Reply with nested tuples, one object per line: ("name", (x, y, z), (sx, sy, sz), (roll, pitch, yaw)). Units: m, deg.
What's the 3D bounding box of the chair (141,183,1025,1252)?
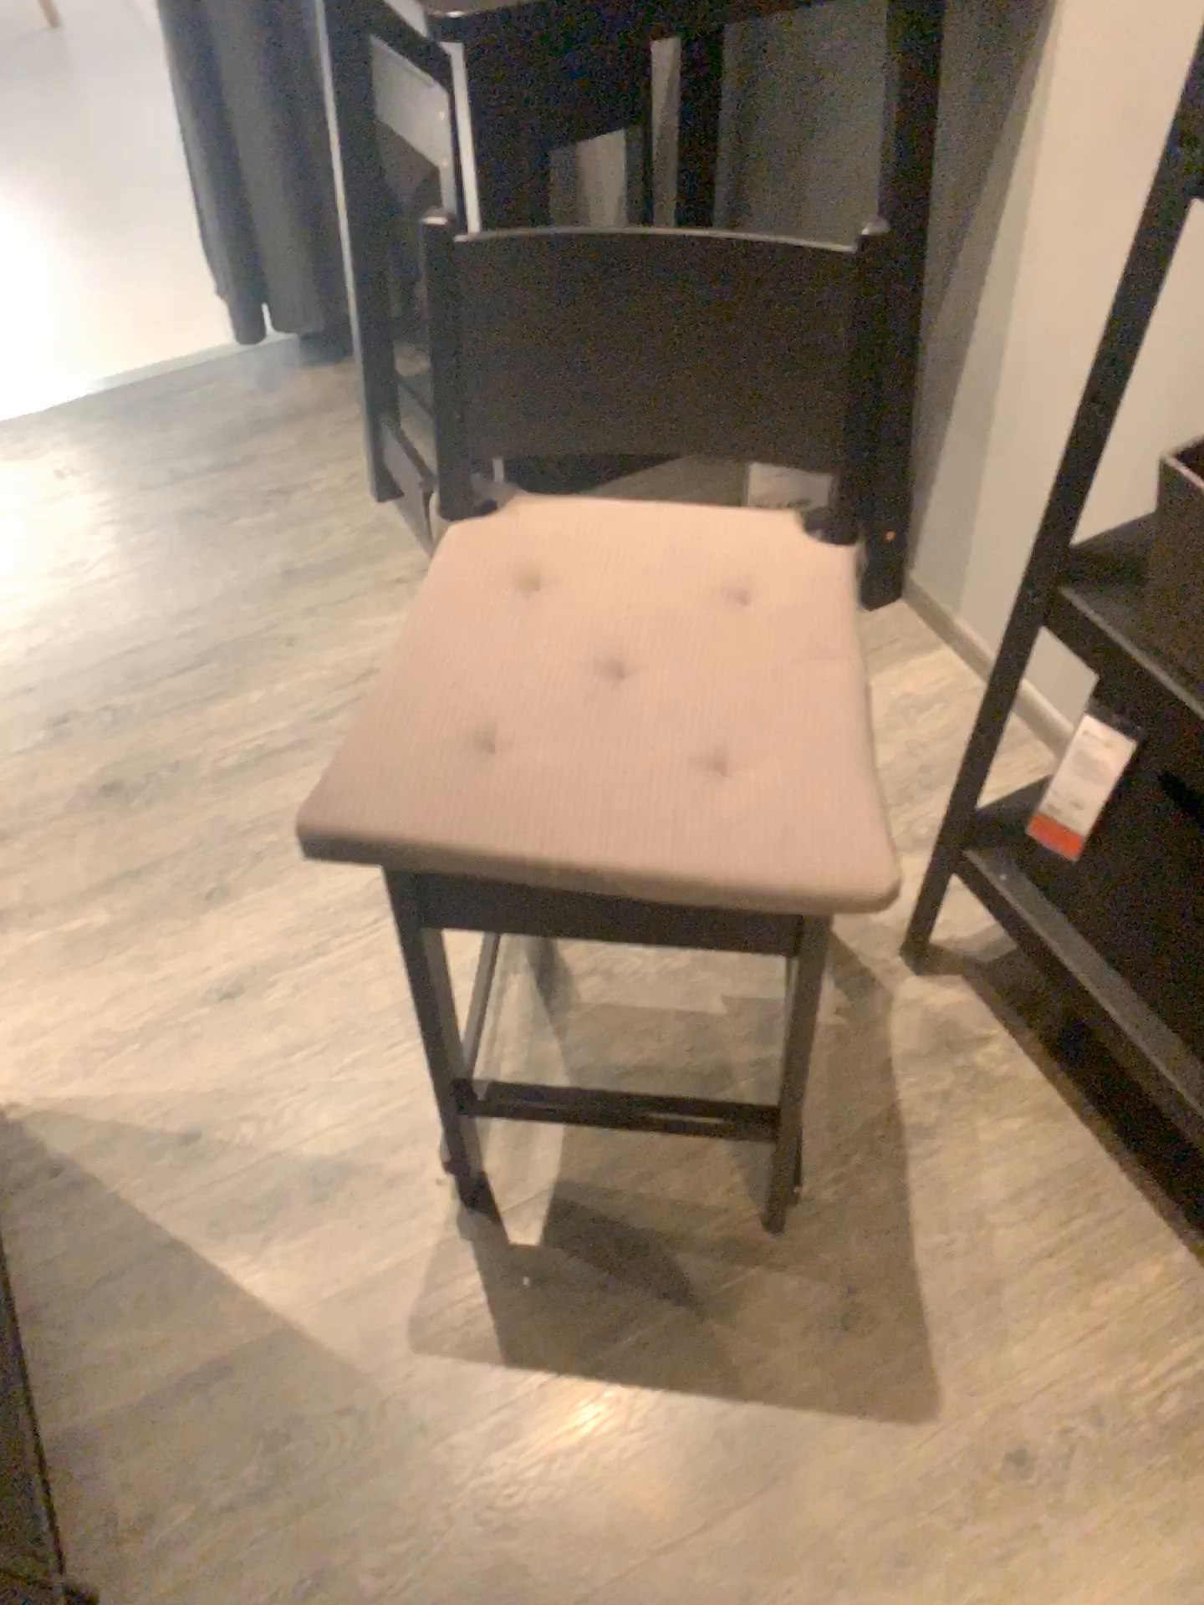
("chair", (0.020, -0.002, 1.129), (0.460, 0.887, 0.501), (4, 52, 5))
